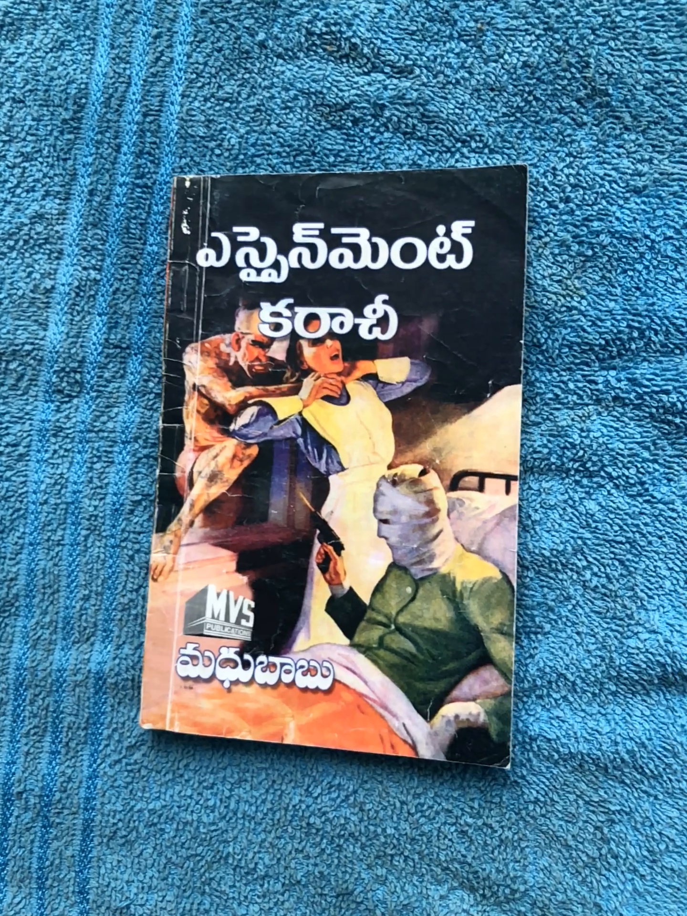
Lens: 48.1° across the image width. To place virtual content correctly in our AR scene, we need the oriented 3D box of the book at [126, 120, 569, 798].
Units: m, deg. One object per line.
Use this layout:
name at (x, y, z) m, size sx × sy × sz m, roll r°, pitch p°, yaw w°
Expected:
book at (0.001, -0.003, 0.211) m, size 0.110 × 0.020 × 0.170 m, roll 2°, pitch 87°, yaw 9°
